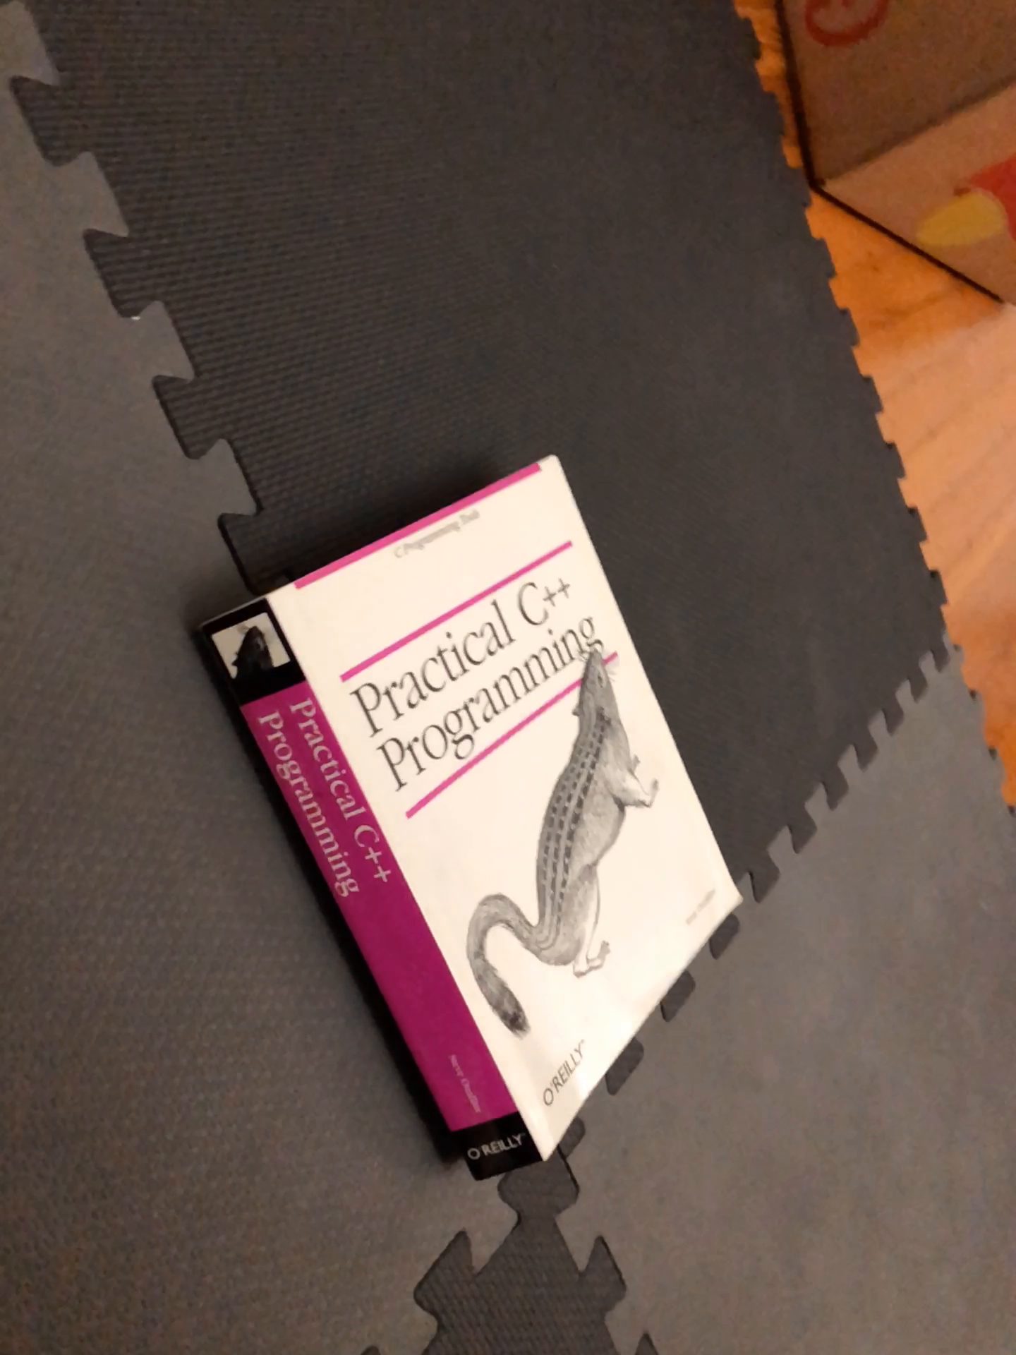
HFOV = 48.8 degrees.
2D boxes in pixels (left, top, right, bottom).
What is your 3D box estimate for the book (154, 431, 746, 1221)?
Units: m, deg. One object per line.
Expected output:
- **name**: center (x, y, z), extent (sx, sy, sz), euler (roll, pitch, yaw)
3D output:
- **book**: center (-0.001, 0.046, 0.463), extent (0.201, 0.050, 0.250), euler (-38, 108, -51)
